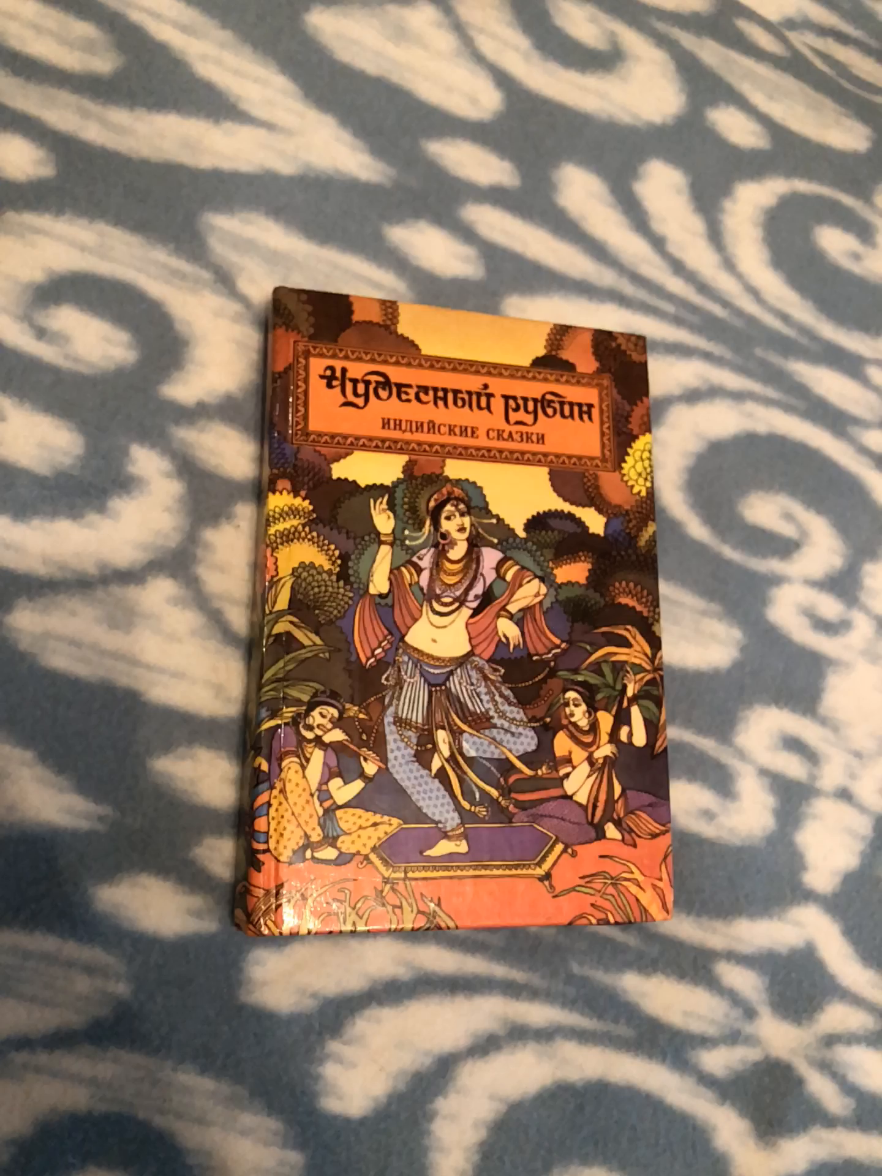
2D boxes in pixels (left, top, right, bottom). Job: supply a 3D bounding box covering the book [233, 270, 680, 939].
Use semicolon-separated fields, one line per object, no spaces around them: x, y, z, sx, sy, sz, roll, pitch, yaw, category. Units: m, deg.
0.007;0.004;0.333;0.139;0.027;0.210;4;77;-15;book
